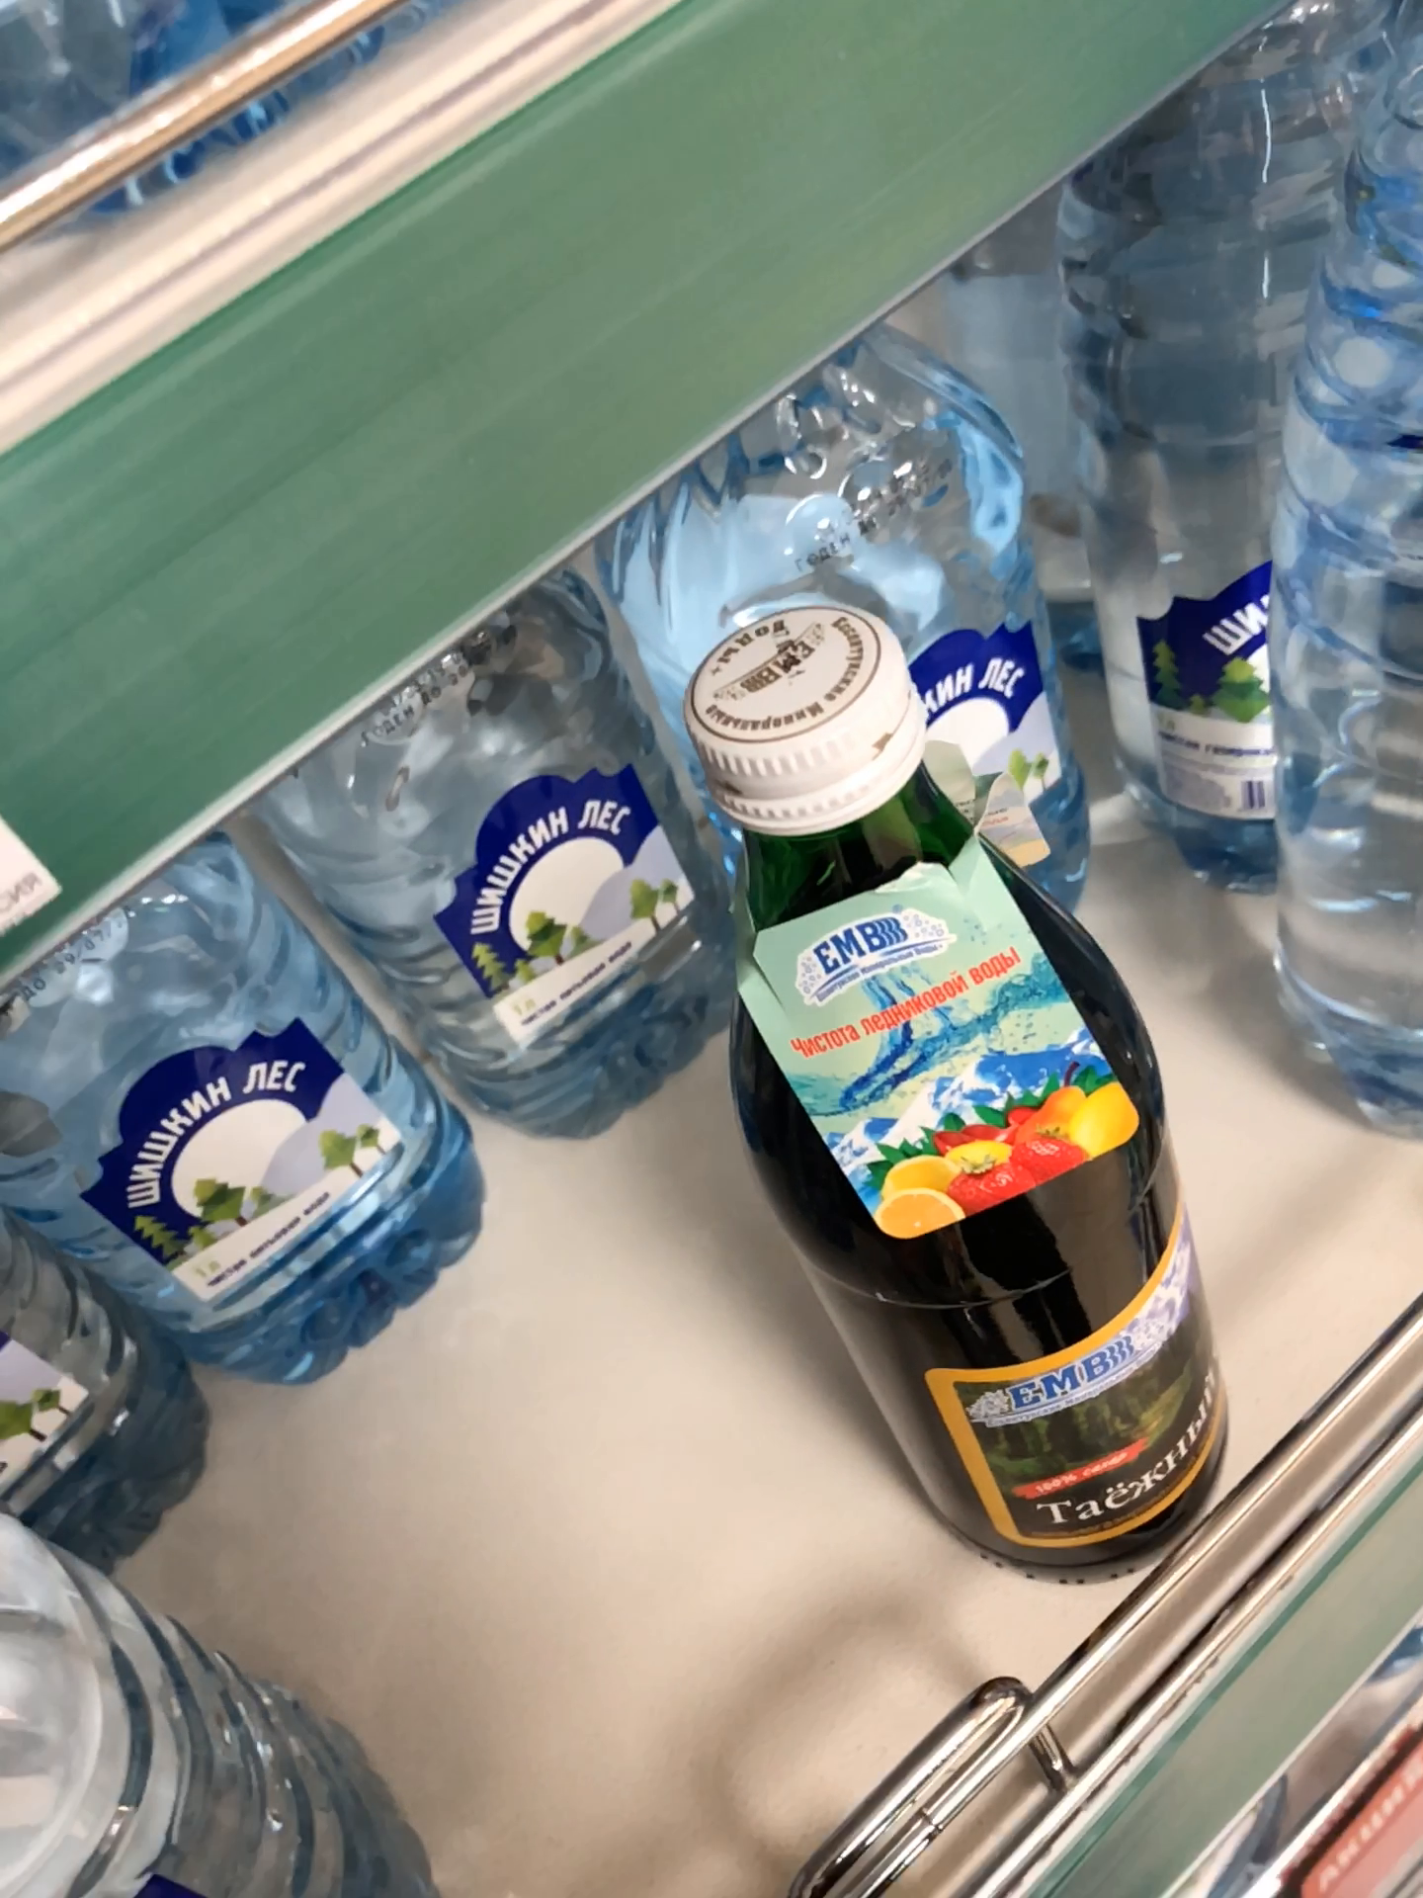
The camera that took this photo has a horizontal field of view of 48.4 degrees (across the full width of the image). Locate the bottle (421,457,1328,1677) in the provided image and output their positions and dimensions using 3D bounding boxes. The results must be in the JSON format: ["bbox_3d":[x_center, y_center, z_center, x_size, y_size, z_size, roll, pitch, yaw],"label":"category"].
[{"bbox_3d":[0.046,0.039,0.266,0.075,0.219,0.068,-12,49,14],"label":"bottle"}]
